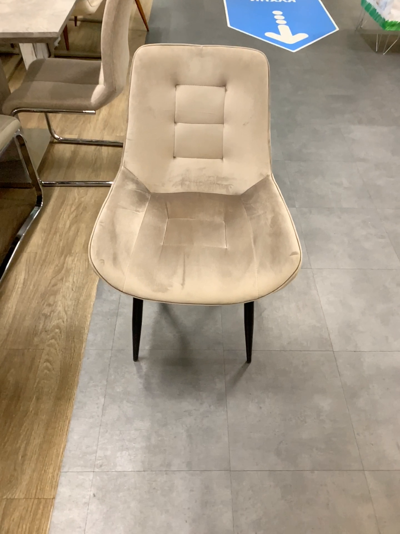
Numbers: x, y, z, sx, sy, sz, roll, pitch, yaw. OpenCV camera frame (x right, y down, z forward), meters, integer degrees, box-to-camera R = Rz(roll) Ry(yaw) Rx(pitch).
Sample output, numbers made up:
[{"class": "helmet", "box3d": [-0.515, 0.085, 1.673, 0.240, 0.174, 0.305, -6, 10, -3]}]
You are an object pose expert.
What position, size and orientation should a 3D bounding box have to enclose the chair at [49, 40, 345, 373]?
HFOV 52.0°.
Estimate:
[{"class": "chair", "box3d": [-0.009, -0.151, 1.294, 0.566, 0.817, 0.613, 2, 48, 0]}]
